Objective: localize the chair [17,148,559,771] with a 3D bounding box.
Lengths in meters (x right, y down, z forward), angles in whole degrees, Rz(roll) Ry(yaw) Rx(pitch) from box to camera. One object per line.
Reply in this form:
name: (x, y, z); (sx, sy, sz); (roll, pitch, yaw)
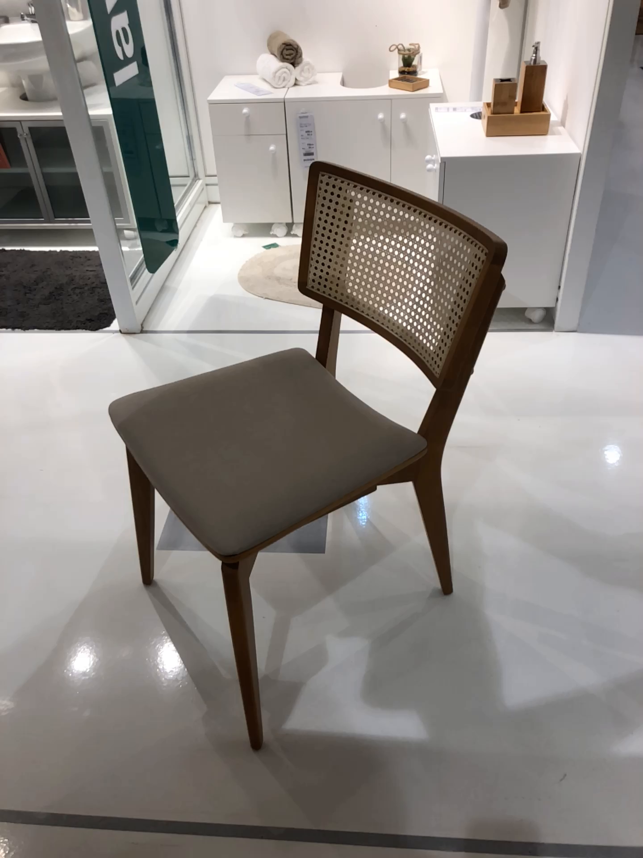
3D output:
chair: (-0.051, 0.027, 1.276); (0.602, 0.793, 0.543); (-25, 43, -25)
